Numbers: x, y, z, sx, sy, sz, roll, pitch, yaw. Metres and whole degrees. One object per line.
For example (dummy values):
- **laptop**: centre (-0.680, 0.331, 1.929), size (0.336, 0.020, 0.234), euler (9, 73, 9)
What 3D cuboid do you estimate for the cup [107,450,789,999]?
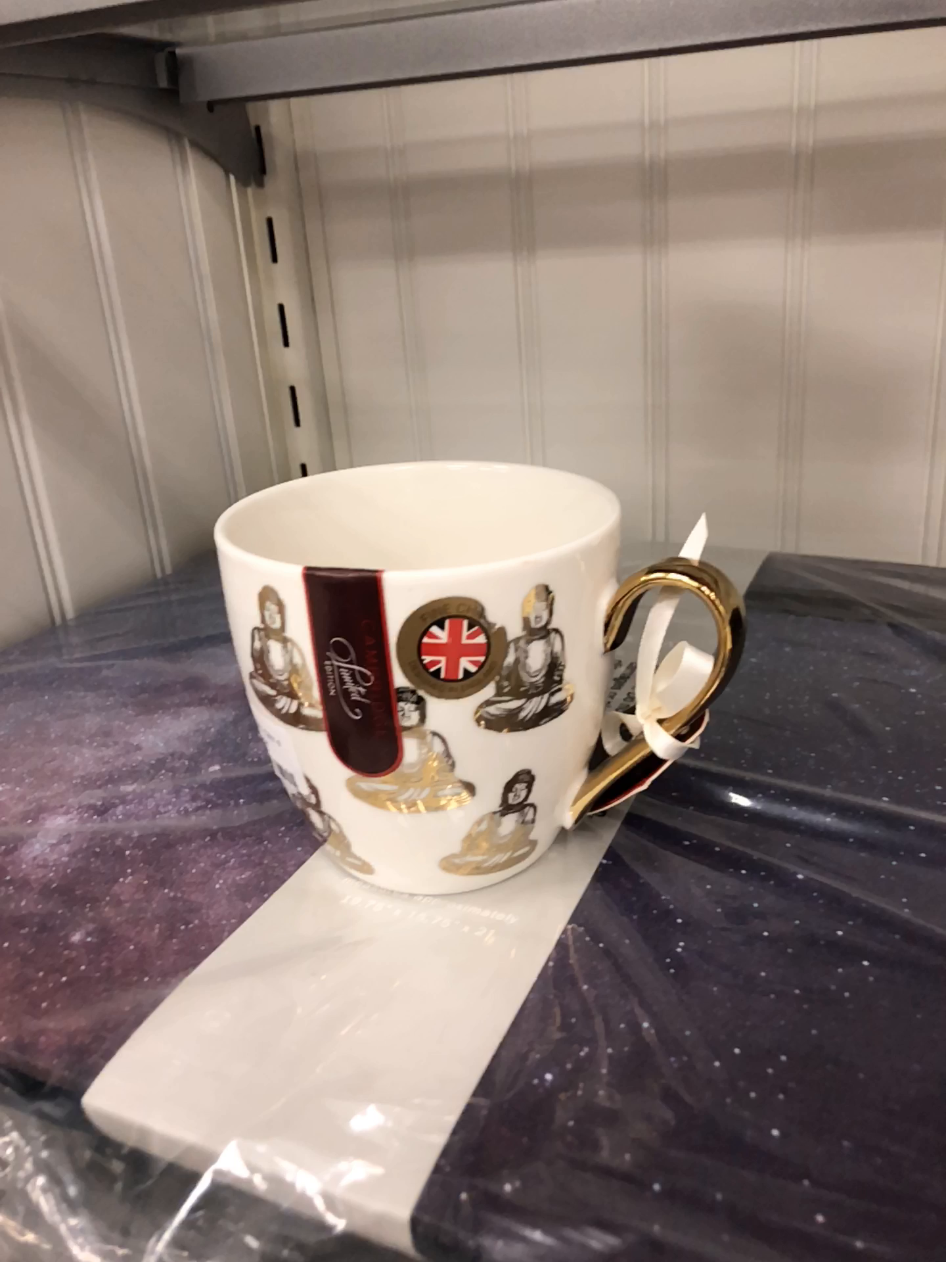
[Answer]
- **cup**: centre (0.004, 0.011, 0.266), size (0.137, 0.089, 0.101), euler (4, 24, 19)
